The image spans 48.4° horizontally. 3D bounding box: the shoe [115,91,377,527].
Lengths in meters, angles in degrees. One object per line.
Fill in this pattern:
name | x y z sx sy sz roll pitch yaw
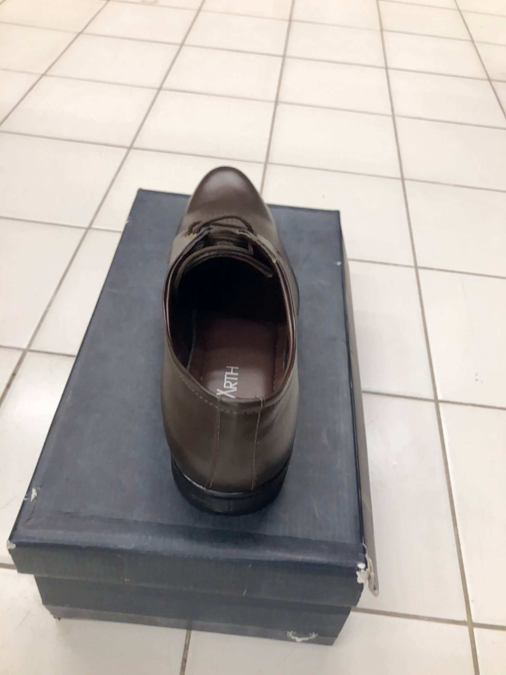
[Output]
shoe | -0.004 -0.043 0.374 0.110 0.099 0.302 4 47 -3
